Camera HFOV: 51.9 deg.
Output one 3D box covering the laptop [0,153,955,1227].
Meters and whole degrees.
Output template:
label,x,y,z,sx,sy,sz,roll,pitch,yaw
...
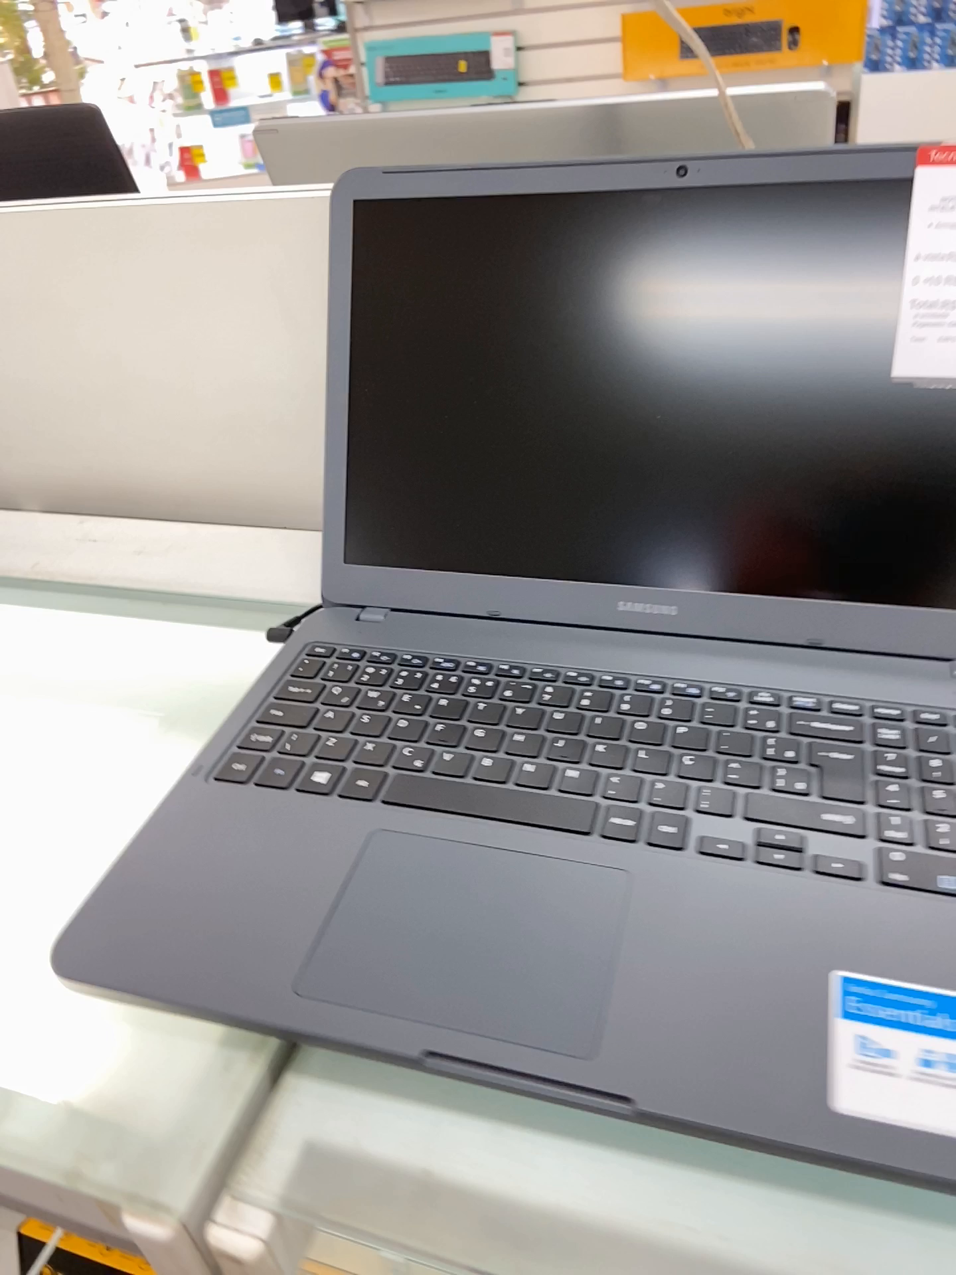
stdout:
label,x,y,z,sx,sy,sz,roll,pitch,yaw
laptop,0.053,-0.043,0.390,0.360,0.197,0.353,5,36,17
